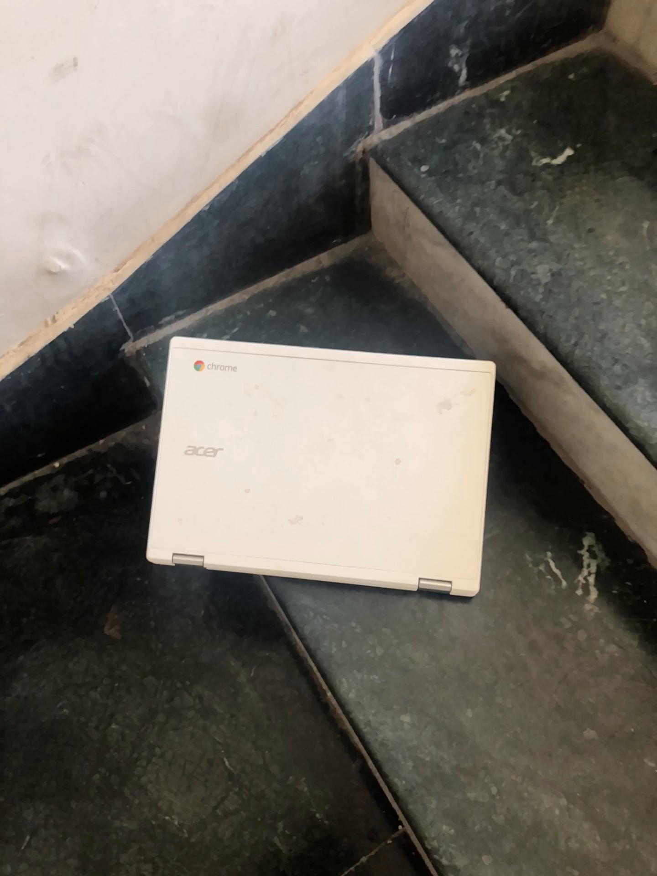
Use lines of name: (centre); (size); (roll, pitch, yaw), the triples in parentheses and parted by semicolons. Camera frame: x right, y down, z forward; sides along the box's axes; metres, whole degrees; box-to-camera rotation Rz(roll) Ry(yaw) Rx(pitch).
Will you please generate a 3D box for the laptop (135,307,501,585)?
laptop: (-0.002, 0.006, 0.633); (0.282, 0.091, 0.190); (5, 66, 3)
